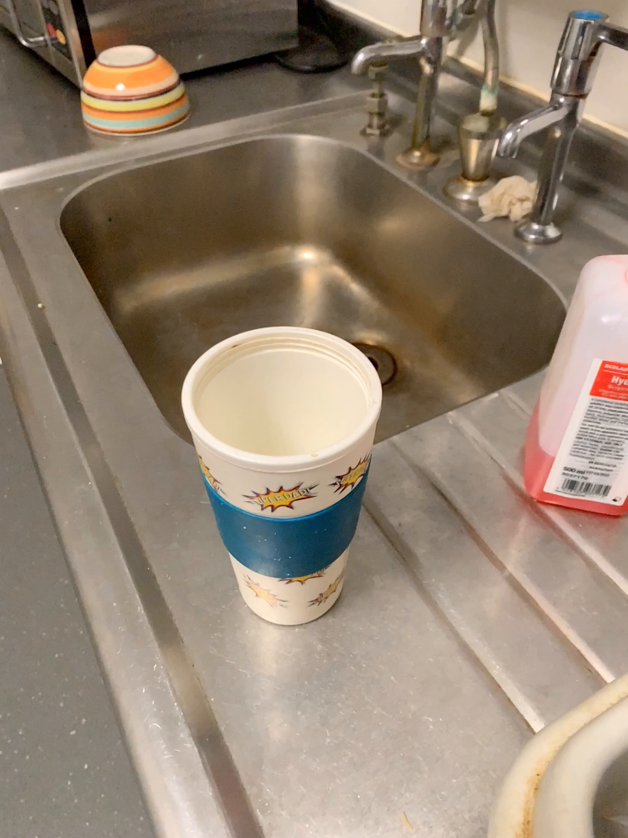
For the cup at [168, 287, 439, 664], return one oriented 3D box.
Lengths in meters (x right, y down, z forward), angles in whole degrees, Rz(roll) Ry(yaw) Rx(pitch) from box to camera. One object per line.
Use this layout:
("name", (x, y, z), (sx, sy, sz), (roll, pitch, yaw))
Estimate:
("cup", (-0.008, 0.035, 0.345), (0.092, 0.167, 0.090), (0, 45, 0))
